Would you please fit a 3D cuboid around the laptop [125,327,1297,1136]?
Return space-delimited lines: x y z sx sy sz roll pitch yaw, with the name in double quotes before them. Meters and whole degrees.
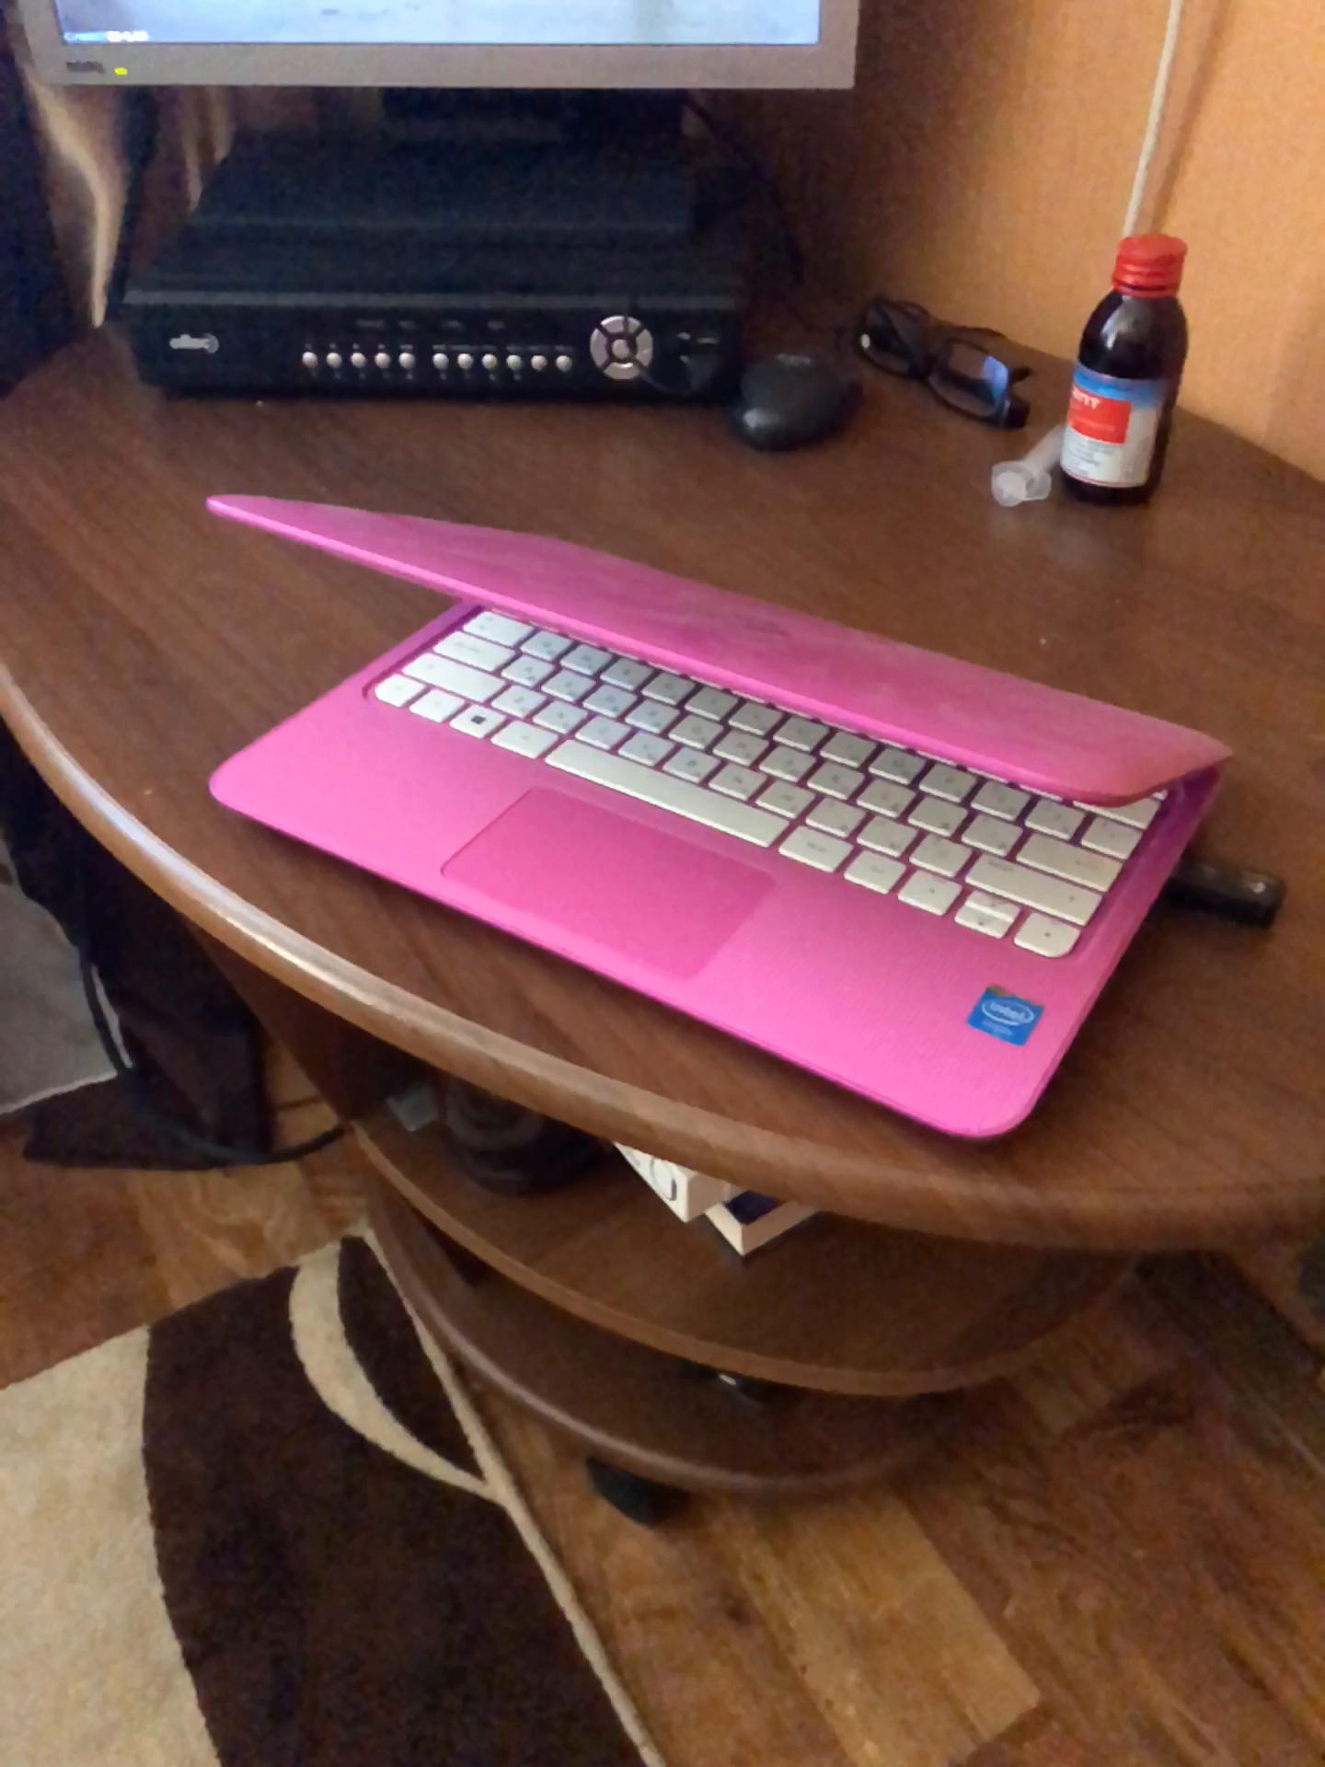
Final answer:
"laptop" 0.016 -0.069 0.428 0.264 0.081 0.187 22 45 25
